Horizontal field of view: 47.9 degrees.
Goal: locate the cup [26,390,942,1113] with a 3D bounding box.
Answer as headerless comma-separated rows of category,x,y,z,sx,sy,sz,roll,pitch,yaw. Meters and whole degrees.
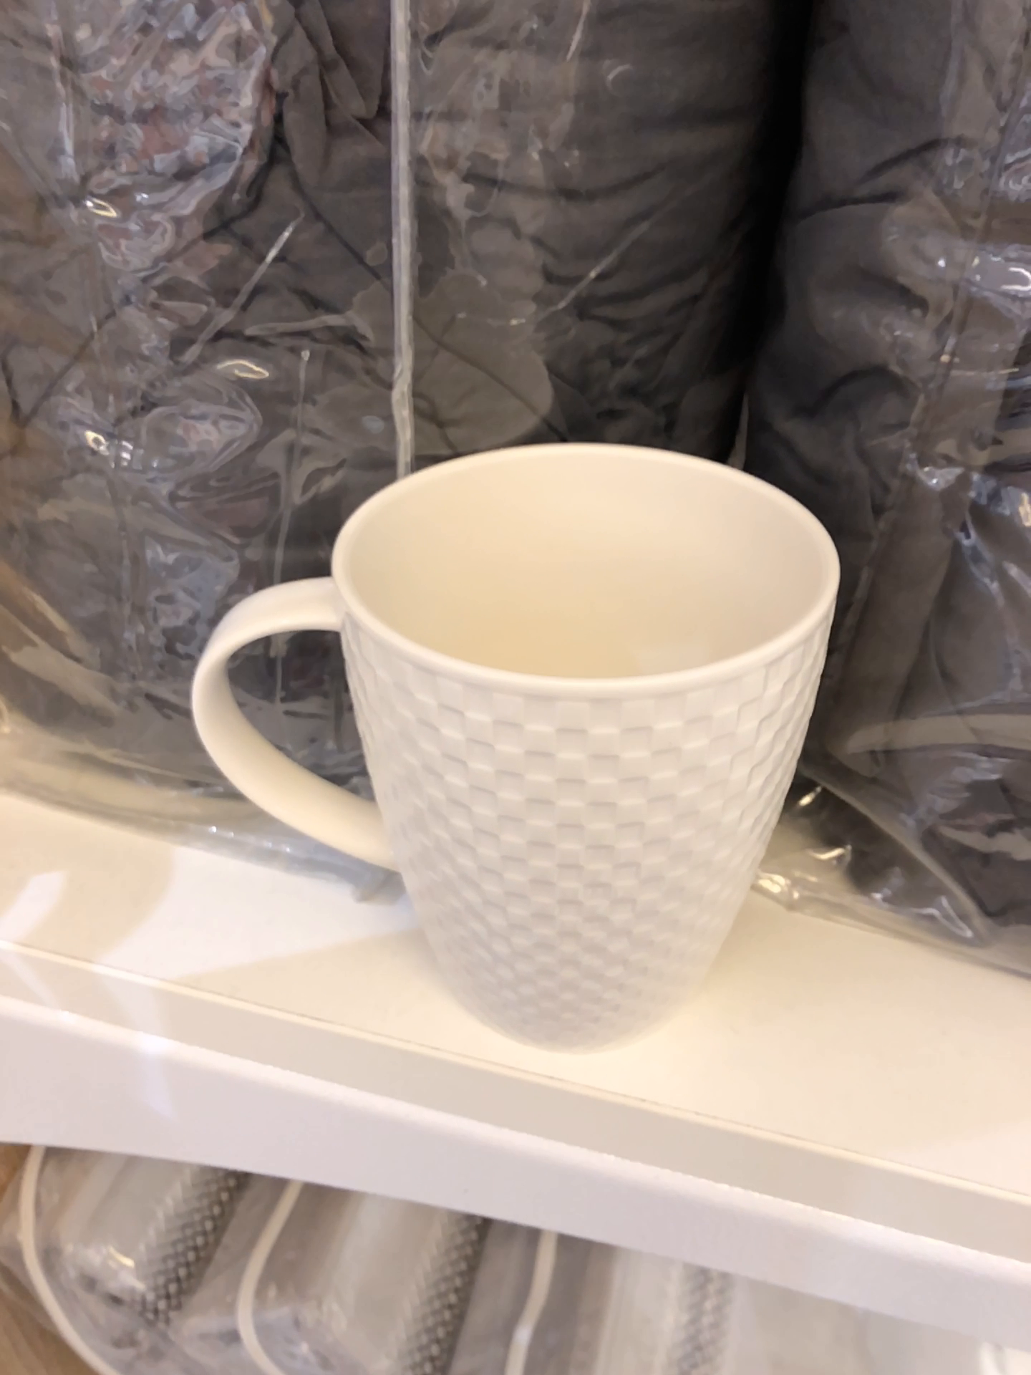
cup,-0.005,0.008,0.198,0.110,0.089,0.081,-1,35,-3
